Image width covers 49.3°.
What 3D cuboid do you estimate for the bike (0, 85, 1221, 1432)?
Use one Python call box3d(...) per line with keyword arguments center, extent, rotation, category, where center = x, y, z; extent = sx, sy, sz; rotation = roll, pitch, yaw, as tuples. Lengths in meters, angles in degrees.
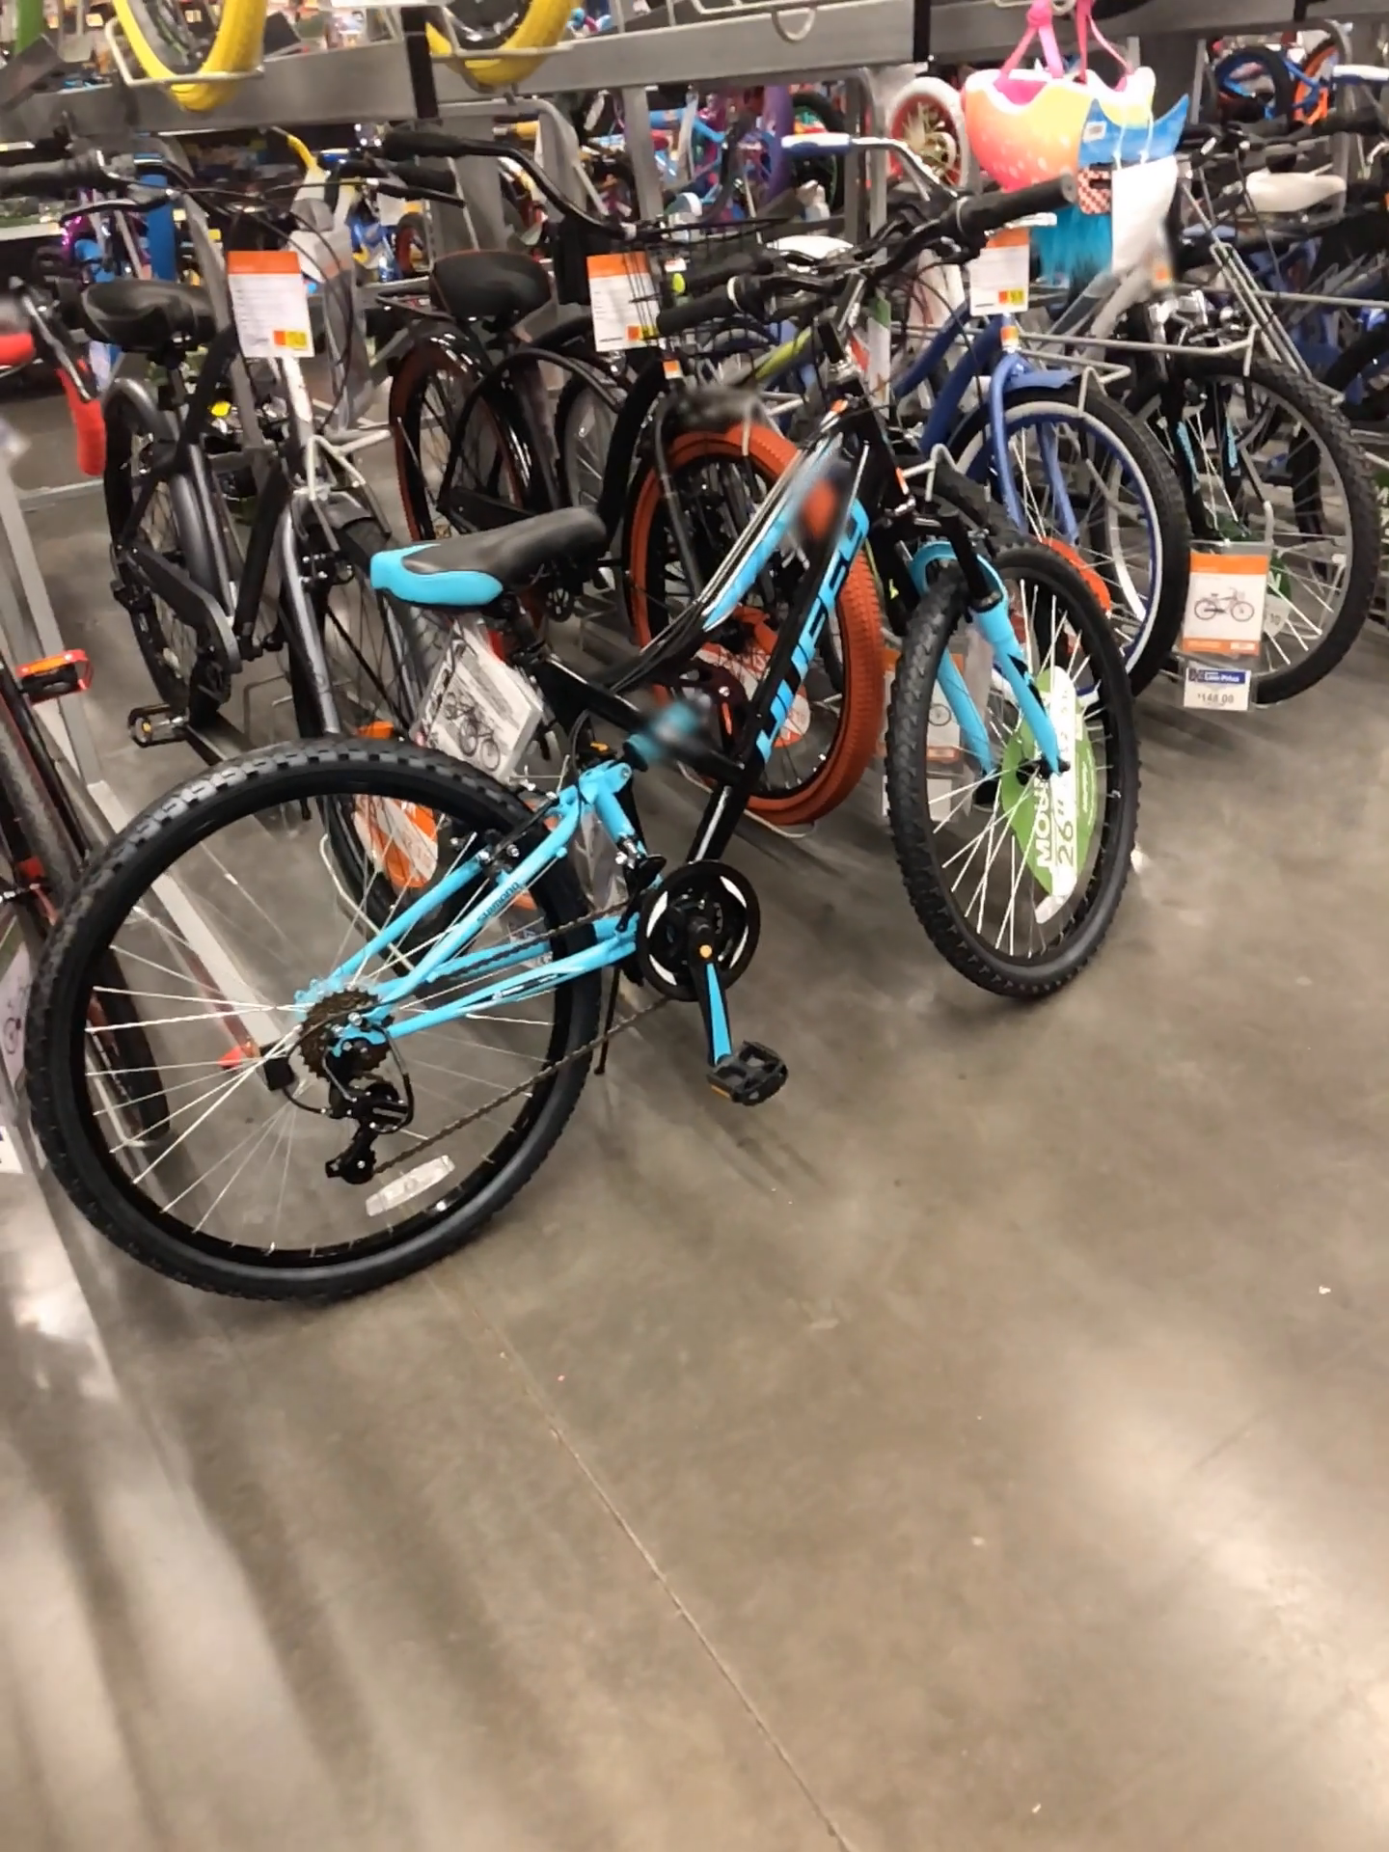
box3d(center=(-0.093, -0.373, 2.017), extent=(1.708, 1.120, 0.546), rotation=(-25, 38, -29), category="bike")
